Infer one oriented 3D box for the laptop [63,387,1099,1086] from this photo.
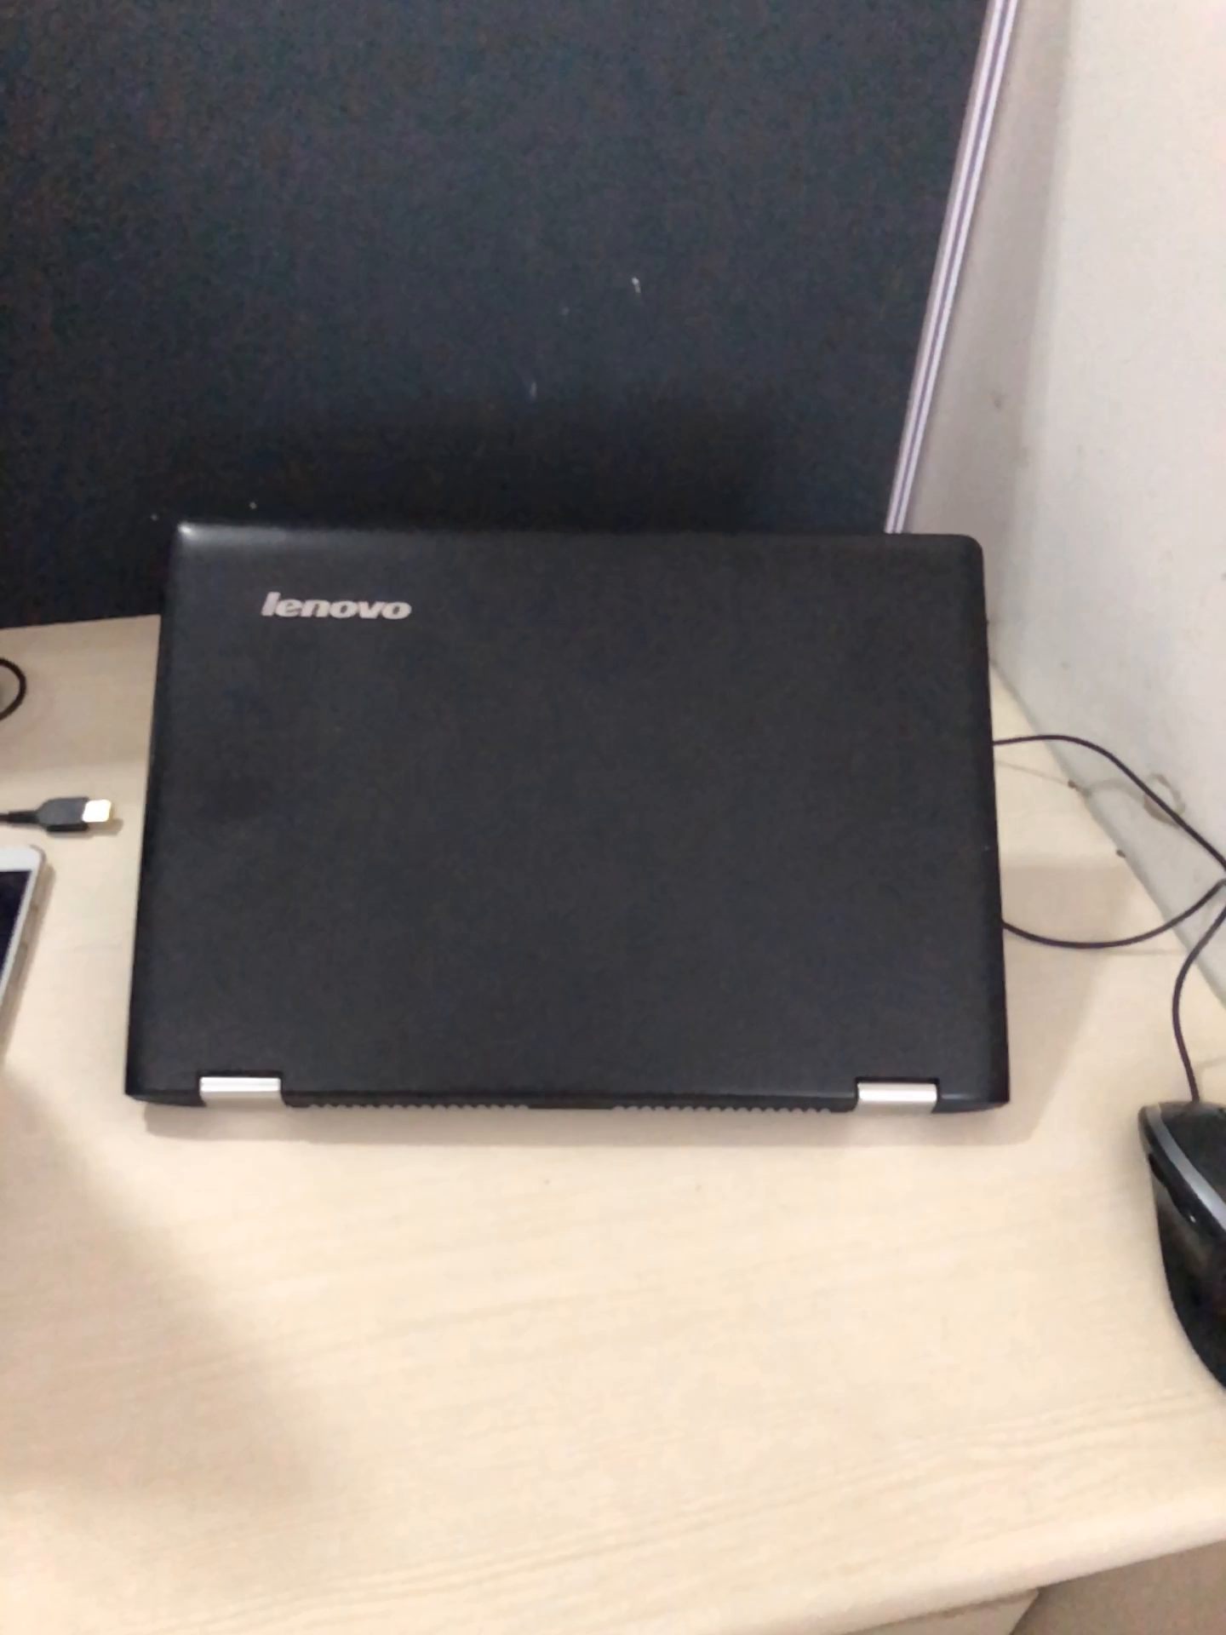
[{"bbox_3d":[-0.013,-0.034,0.534,0.324,0.142,0.205,1,49,-2],"label":"laptop"}]
